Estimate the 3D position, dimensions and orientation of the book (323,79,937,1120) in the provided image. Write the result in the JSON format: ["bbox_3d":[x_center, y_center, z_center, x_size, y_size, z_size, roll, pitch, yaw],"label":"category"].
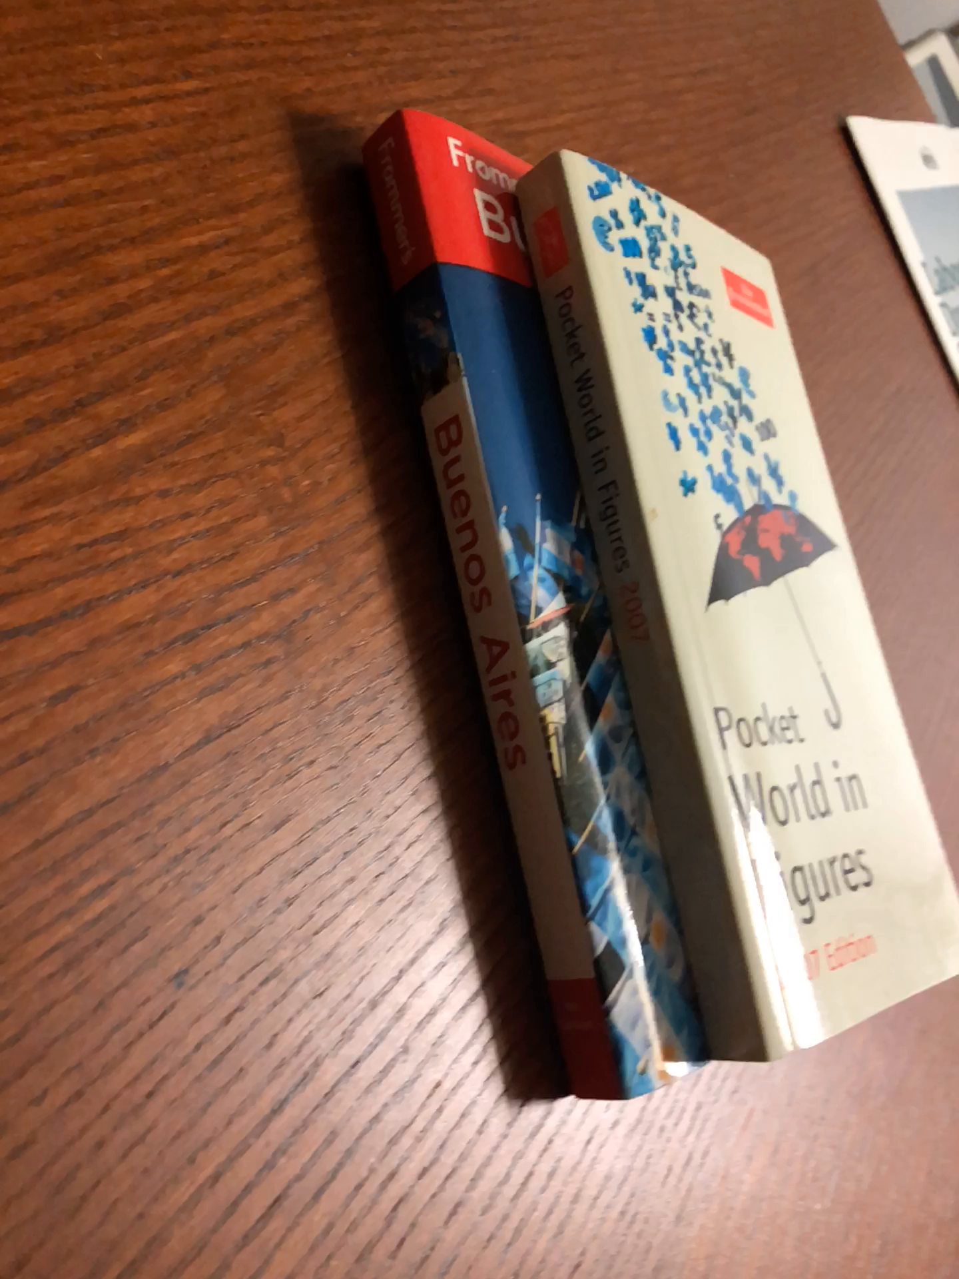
[{"bbox_3d":[0.044,-0.016,0.262,0.141,0.020,0.210,-2,75,-46],"label":"book"}]

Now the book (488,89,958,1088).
[{"bbox_3d":[0.063,-0.016,0.245,0.100,0.020,0.200,2,72,-45],"label":"book"}]
